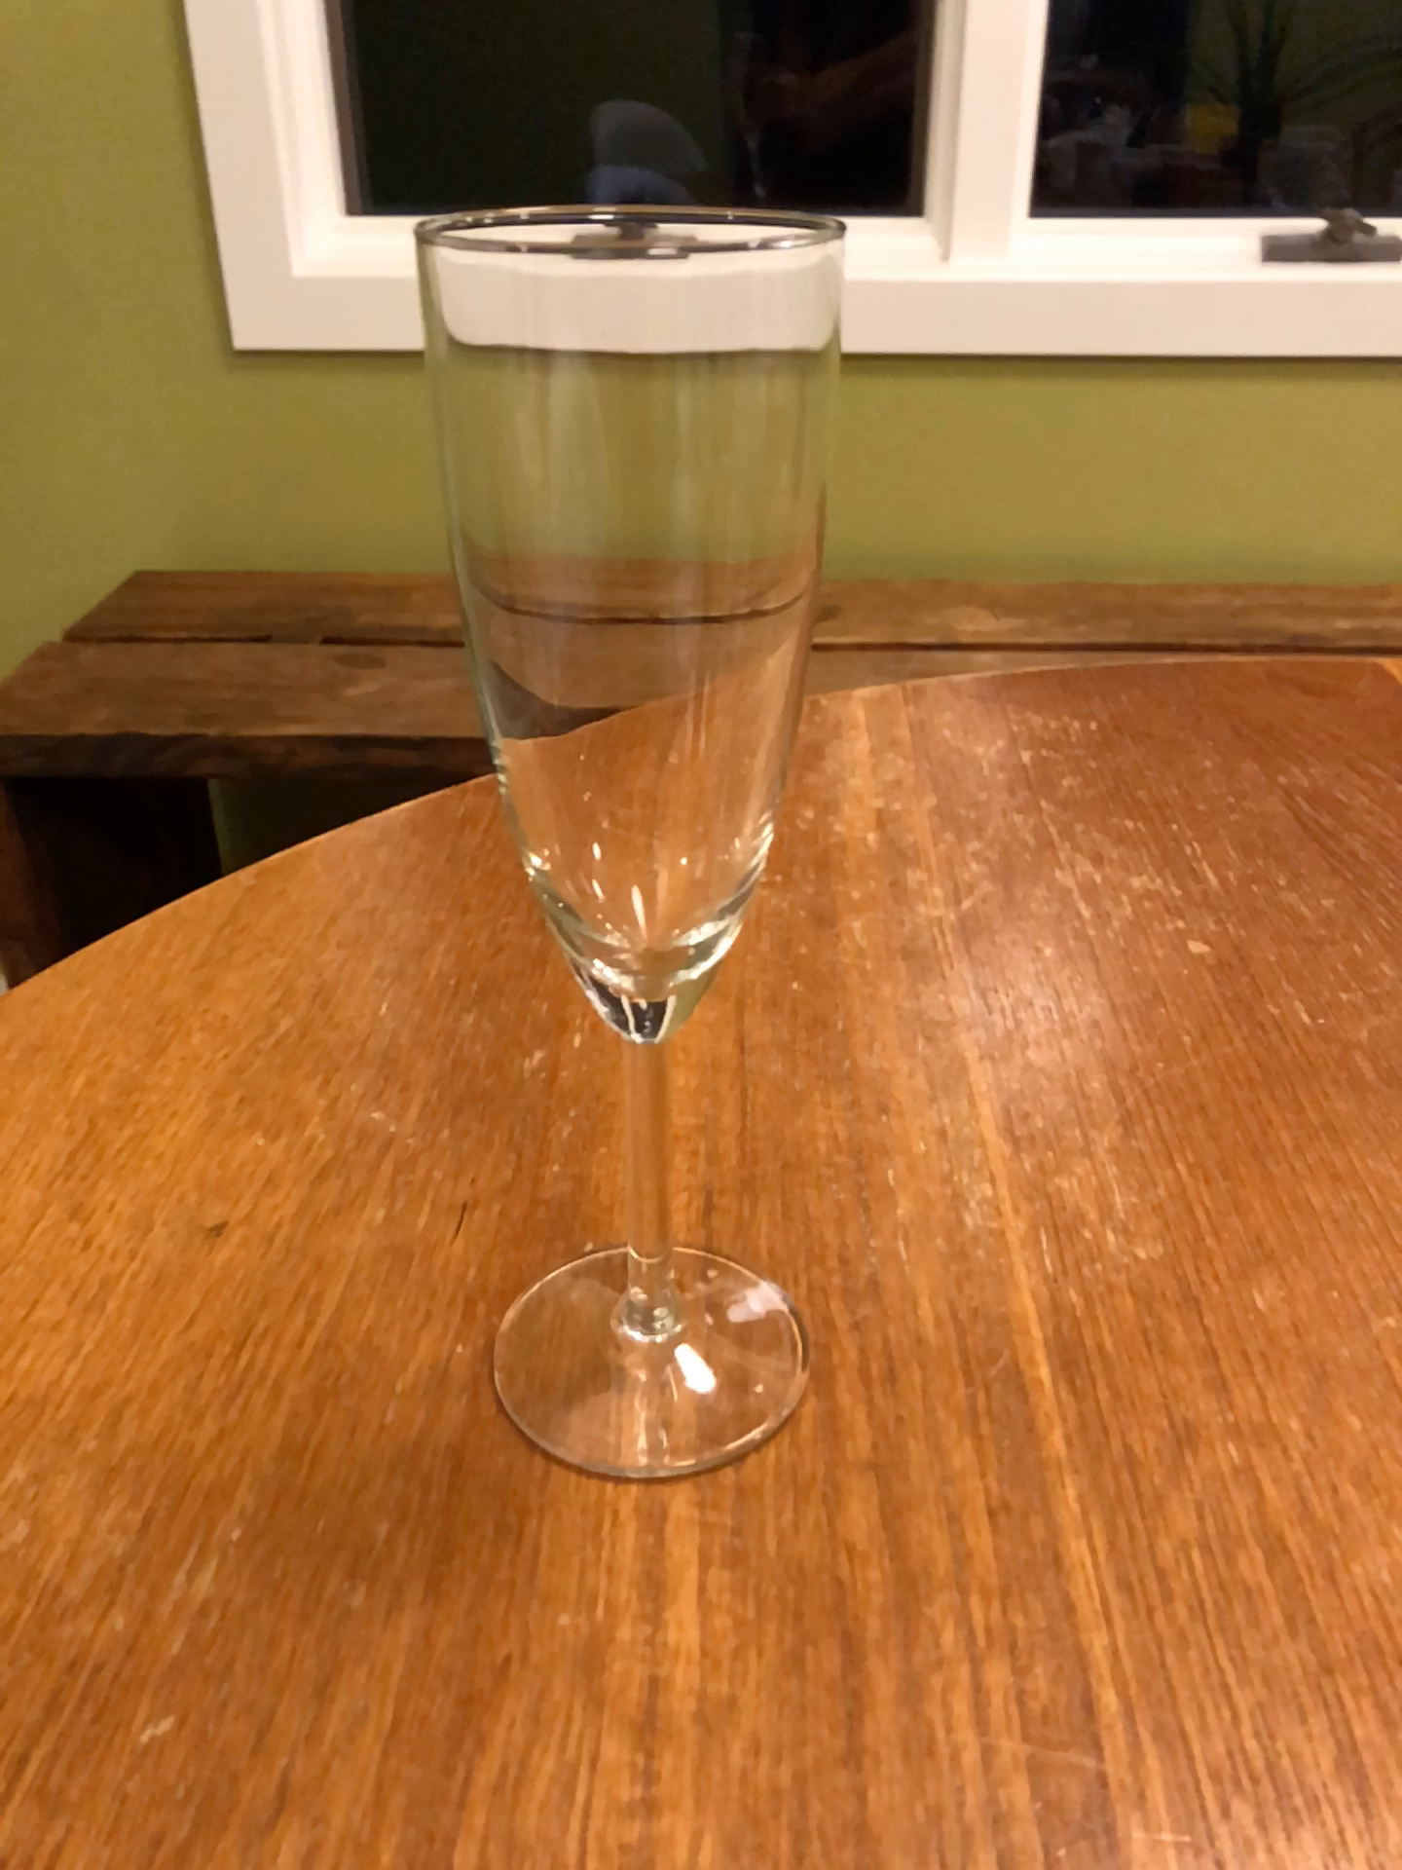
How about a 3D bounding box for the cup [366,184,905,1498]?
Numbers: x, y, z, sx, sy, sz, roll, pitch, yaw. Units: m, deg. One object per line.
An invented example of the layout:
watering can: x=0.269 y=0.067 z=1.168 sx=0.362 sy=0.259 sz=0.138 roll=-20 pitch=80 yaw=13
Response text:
cup: x=-0.012 y=-0.010 z=0.272 sx=0.066 sy=0.215 sz=0.074 roll=-5 pitch=29 yaw=-8
